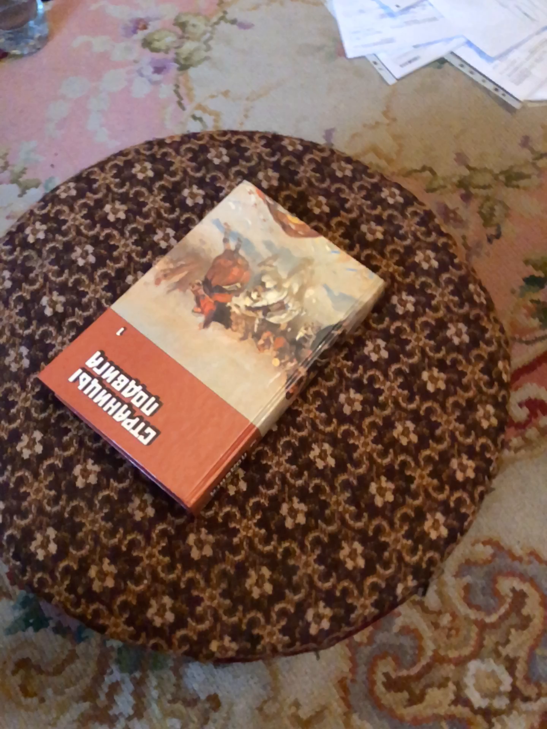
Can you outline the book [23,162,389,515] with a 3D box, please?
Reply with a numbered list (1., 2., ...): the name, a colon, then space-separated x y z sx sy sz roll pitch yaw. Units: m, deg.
1. book: -0.039 -0.025 0.409 0.134 0.040 0.206 38 72 10
